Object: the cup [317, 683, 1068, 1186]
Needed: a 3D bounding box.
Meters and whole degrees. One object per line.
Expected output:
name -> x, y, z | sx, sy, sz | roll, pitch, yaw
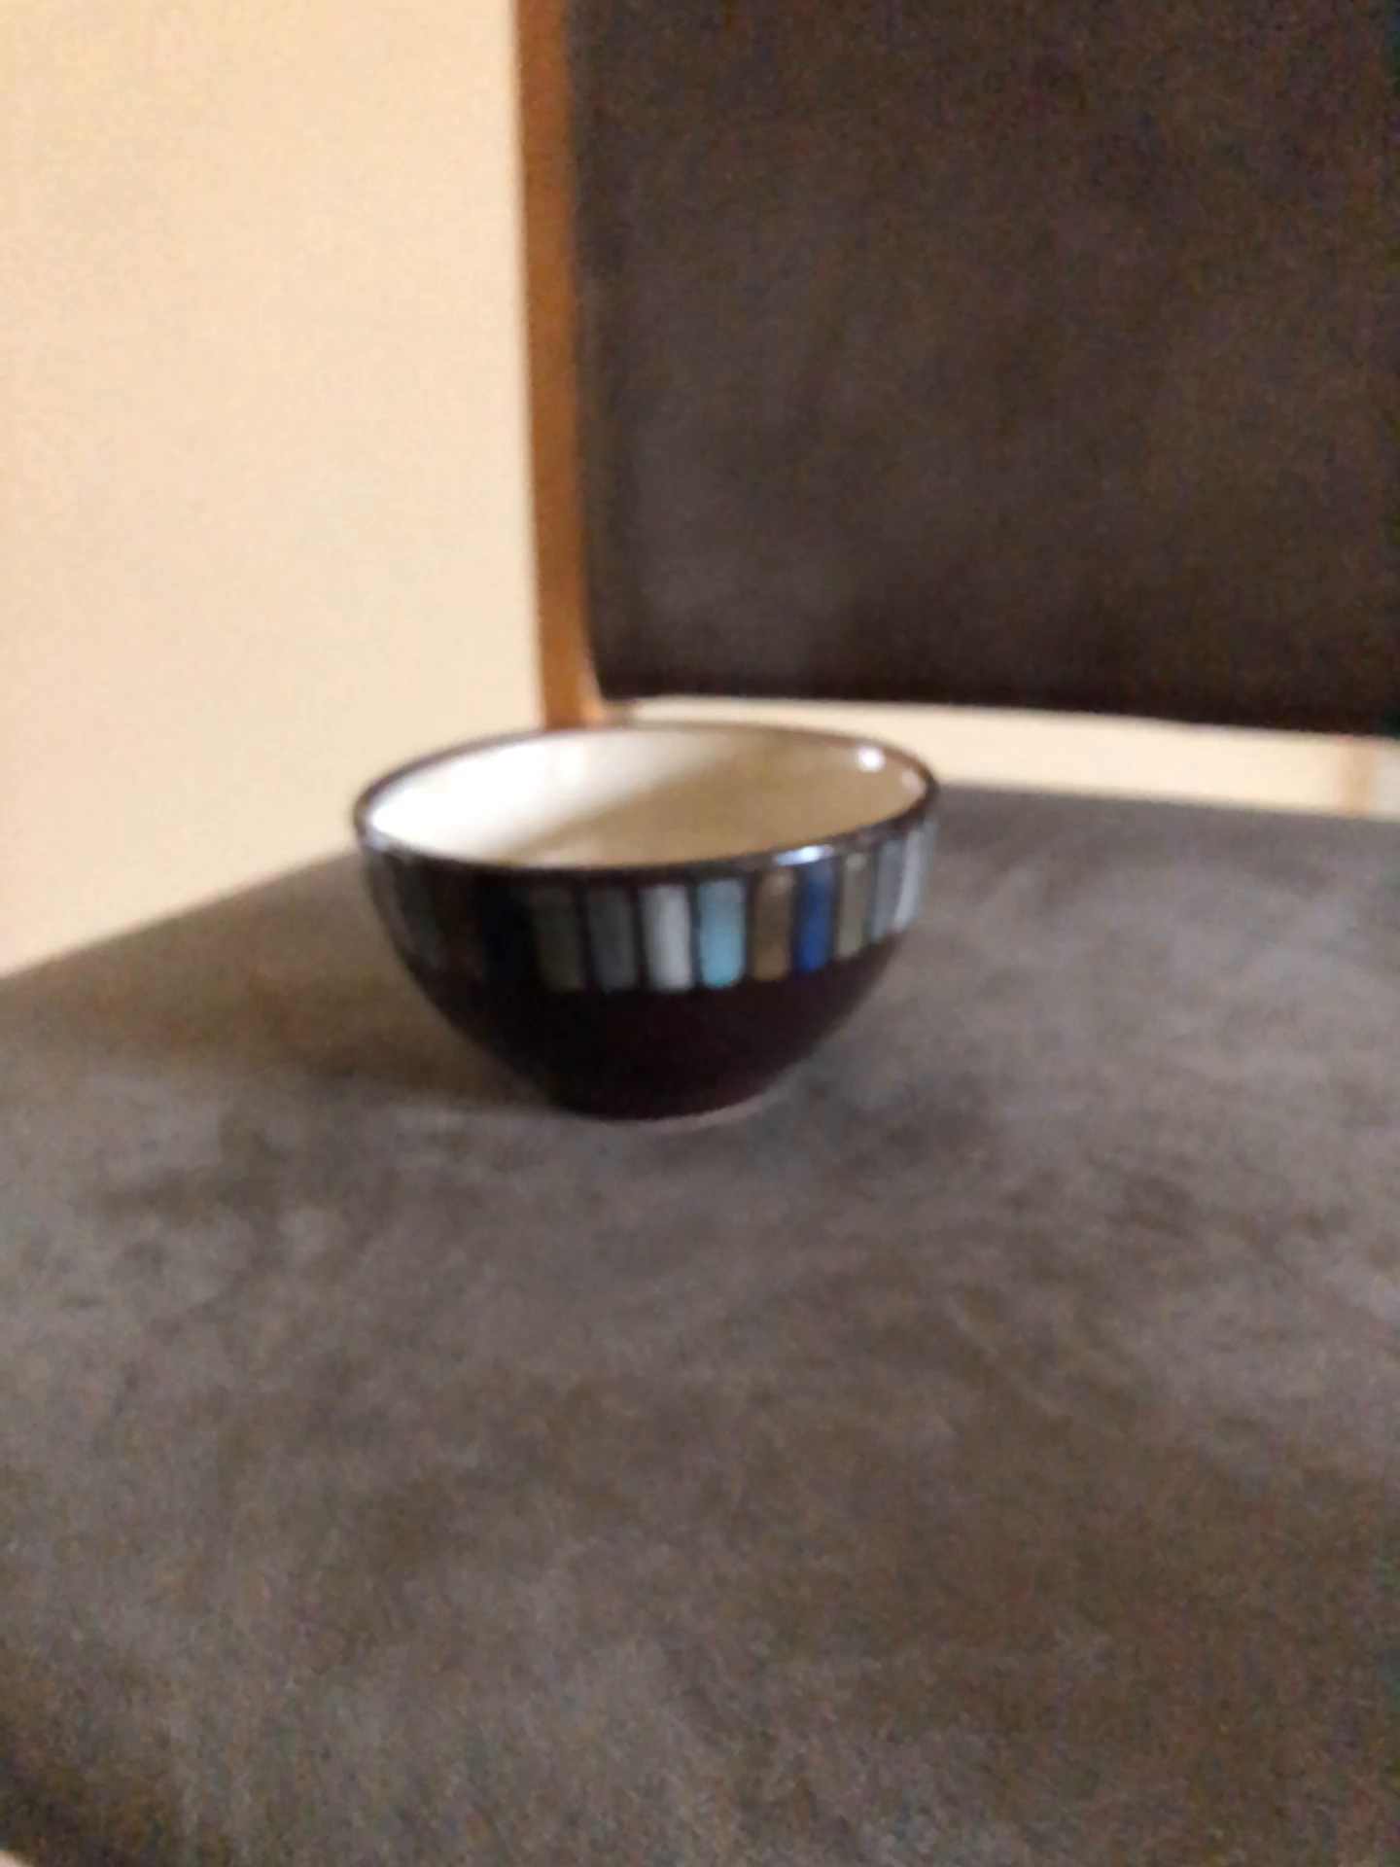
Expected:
cup -> -0.008, -0.009, 0.310 | 0.108, 0.044, 0.115 | -3, 21, 1
